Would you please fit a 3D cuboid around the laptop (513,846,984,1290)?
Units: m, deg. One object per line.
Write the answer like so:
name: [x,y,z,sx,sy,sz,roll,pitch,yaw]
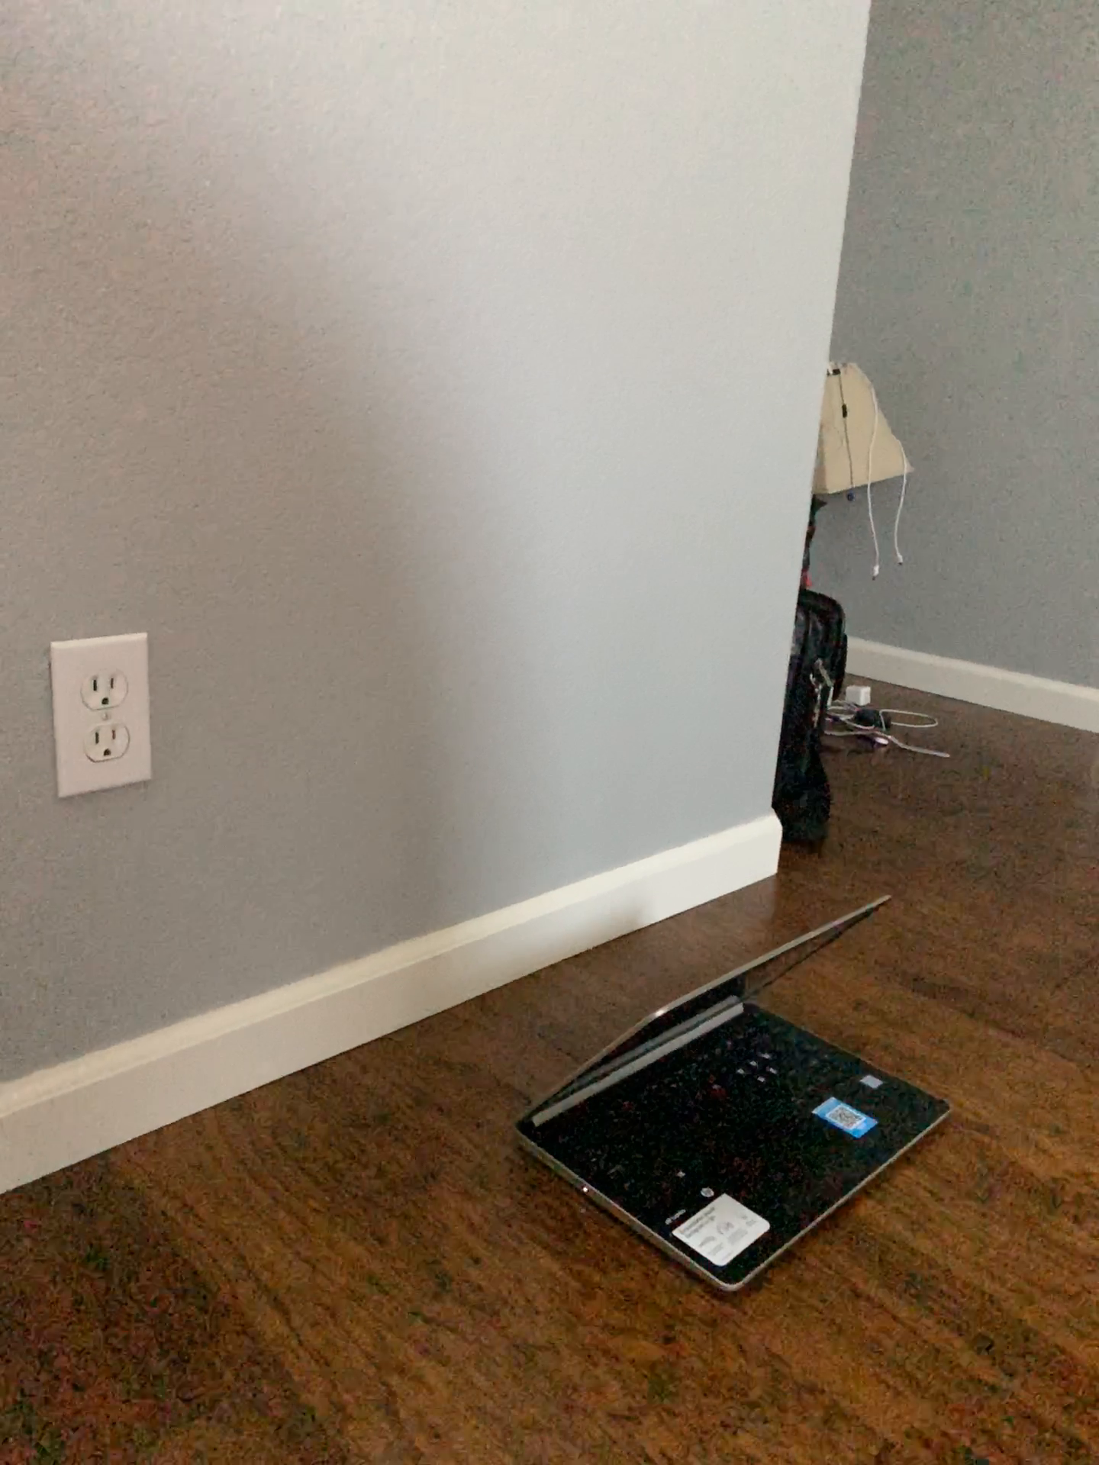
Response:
laptop: [0.167,0.245,0.924,0.220,0.169,0.317,19,23,41]
